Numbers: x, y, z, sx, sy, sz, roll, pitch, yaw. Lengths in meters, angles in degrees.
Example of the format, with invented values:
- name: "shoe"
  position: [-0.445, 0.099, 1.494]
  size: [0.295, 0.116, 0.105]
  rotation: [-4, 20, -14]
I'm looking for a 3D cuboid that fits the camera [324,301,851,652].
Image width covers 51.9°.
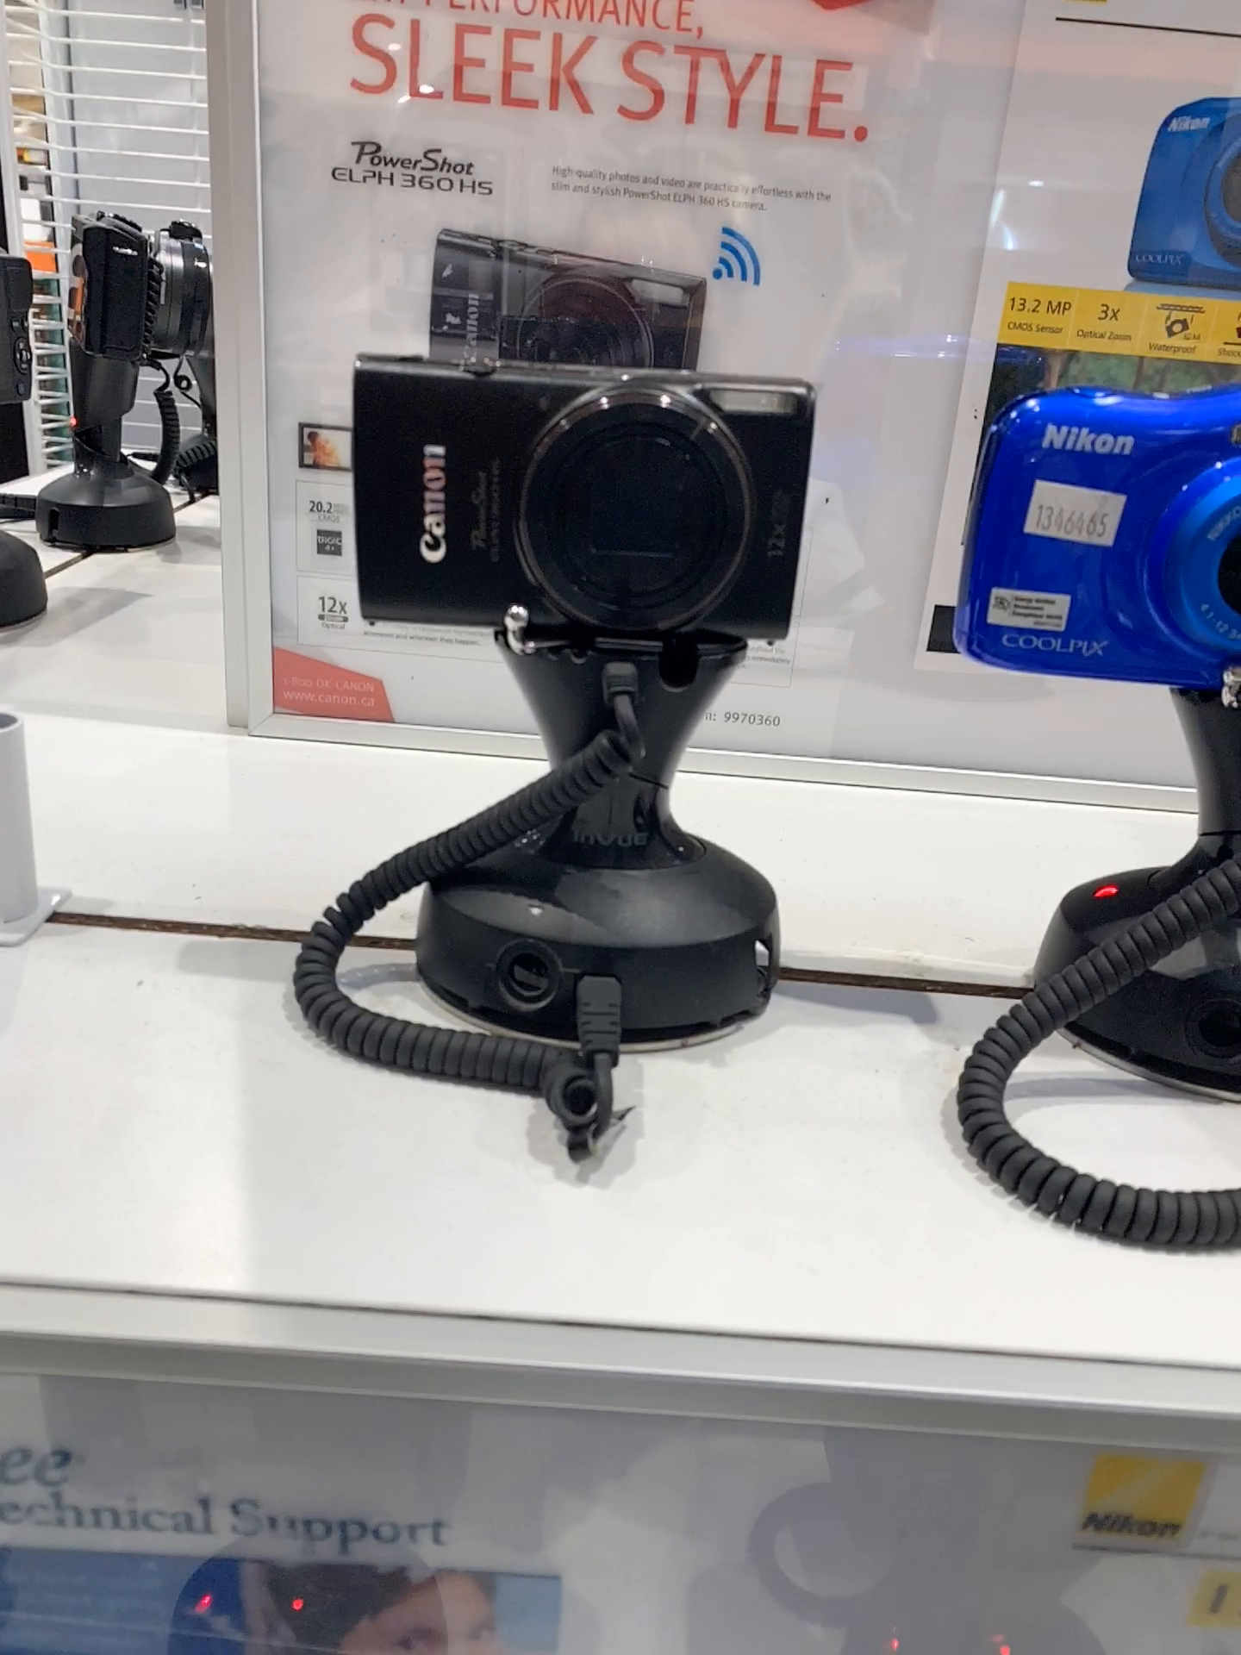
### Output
- name: "camera"
  position: [-0.009, -0.075, 0.270]
  size: [0.100, 0.060, 0.040]
  rotation: [3, 22, -6]
